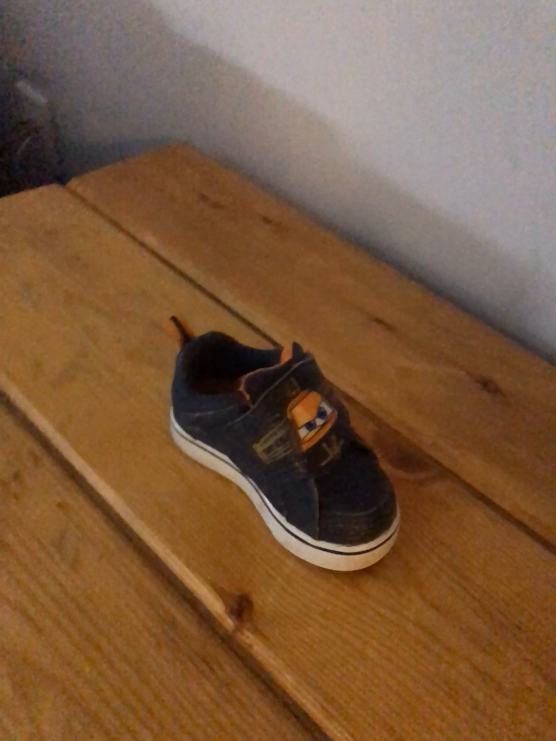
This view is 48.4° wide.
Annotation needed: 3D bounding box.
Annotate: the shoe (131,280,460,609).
[{"bbox_3d":[0.001,0.032,0.331,0.160,0.070,0.070,38,51,25],"label":"shoe"}]
